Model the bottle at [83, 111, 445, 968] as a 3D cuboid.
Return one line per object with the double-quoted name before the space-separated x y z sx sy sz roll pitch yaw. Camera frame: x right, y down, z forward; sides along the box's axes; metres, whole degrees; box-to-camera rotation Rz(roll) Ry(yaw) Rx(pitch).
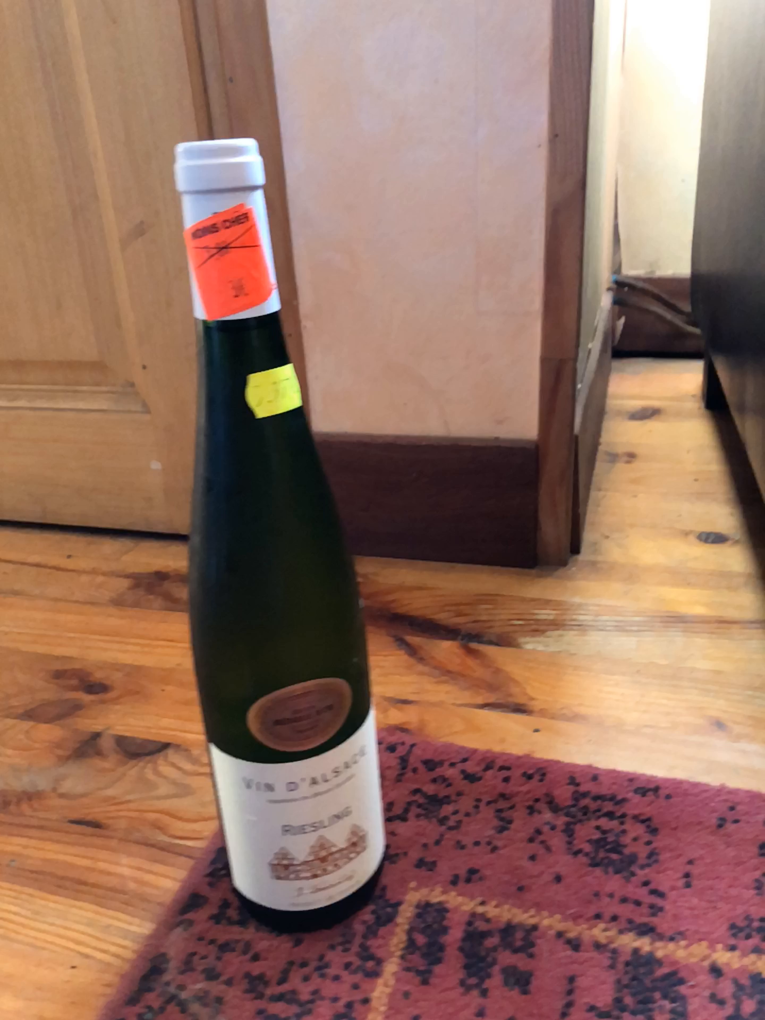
"bottle" -0.035 0.019 0.314 0.080 0.298 0.080 -3 25 1
